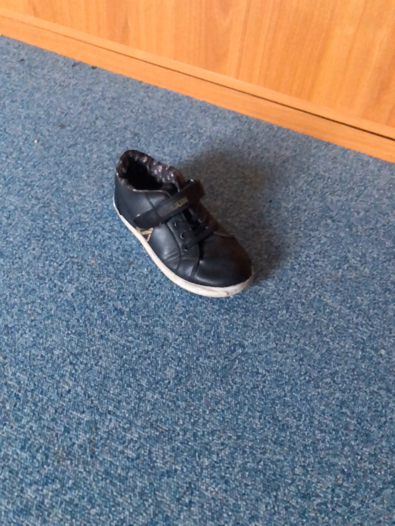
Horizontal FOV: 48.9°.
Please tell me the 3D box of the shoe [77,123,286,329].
[{"bbox_3d":[-0.027,-0.053,0.513,0.110,0.090,0.230,-31,60,-28],"label":"shoe"}]
